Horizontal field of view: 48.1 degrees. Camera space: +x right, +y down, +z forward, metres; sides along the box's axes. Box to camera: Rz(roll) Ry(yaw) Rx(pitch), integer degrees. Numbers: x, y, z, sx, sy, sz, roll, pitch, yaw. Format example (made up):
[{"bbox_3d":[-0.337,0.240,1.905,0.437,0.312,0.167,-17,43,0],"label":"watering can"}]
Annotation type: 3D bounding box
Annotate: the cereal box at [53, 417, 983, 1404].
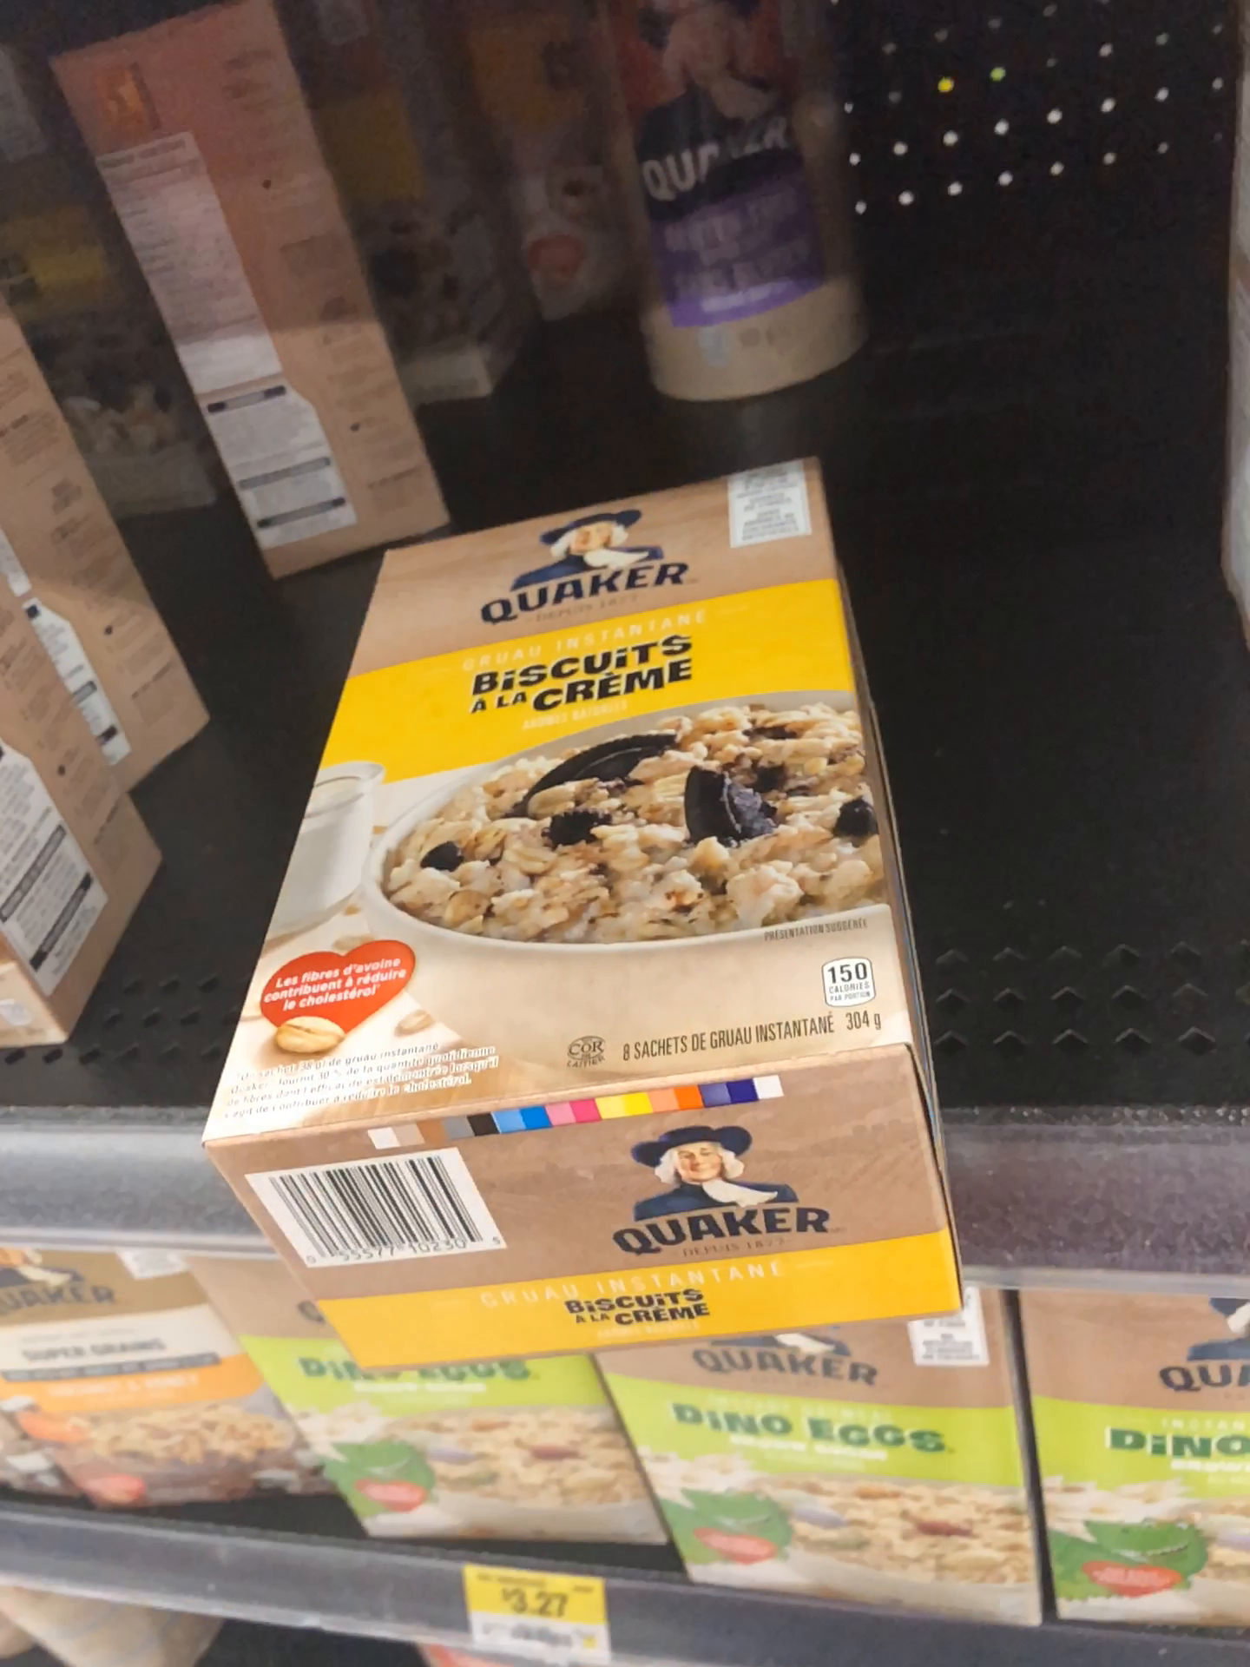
[{"bbox_3d":[-0.012,0.002,0.311,0.140,0.070,0.210,-10,41,11],"label":"cereal box"}]
